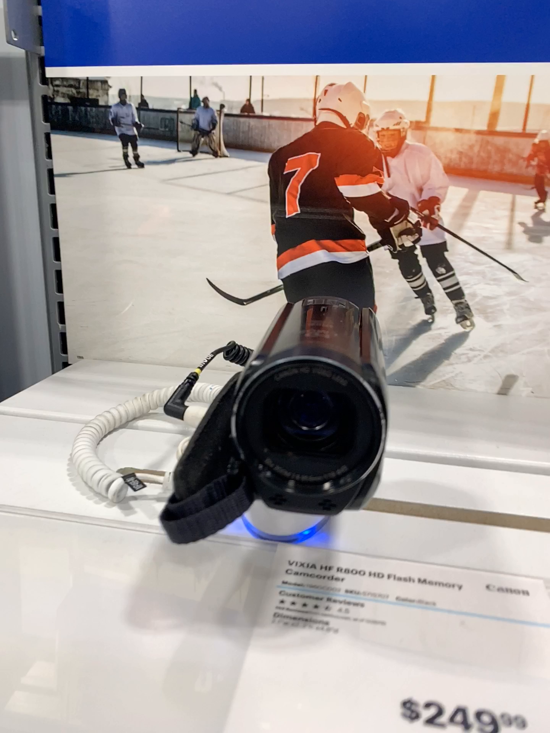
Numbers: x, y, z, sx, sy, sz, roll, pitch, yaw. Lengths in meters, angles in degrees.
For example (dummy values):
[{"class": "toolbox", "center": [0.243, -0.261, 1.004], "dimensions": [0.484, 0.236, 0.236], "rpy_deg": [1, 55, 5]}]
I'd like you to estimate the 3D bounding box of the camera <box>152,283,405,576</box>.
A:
[{"class": "camera", "center": [0.010, 0.010, 0.235], "dimensions": [0.072, 0.062, 0.140], "rpy_deg": [5, 18, 8]}]
